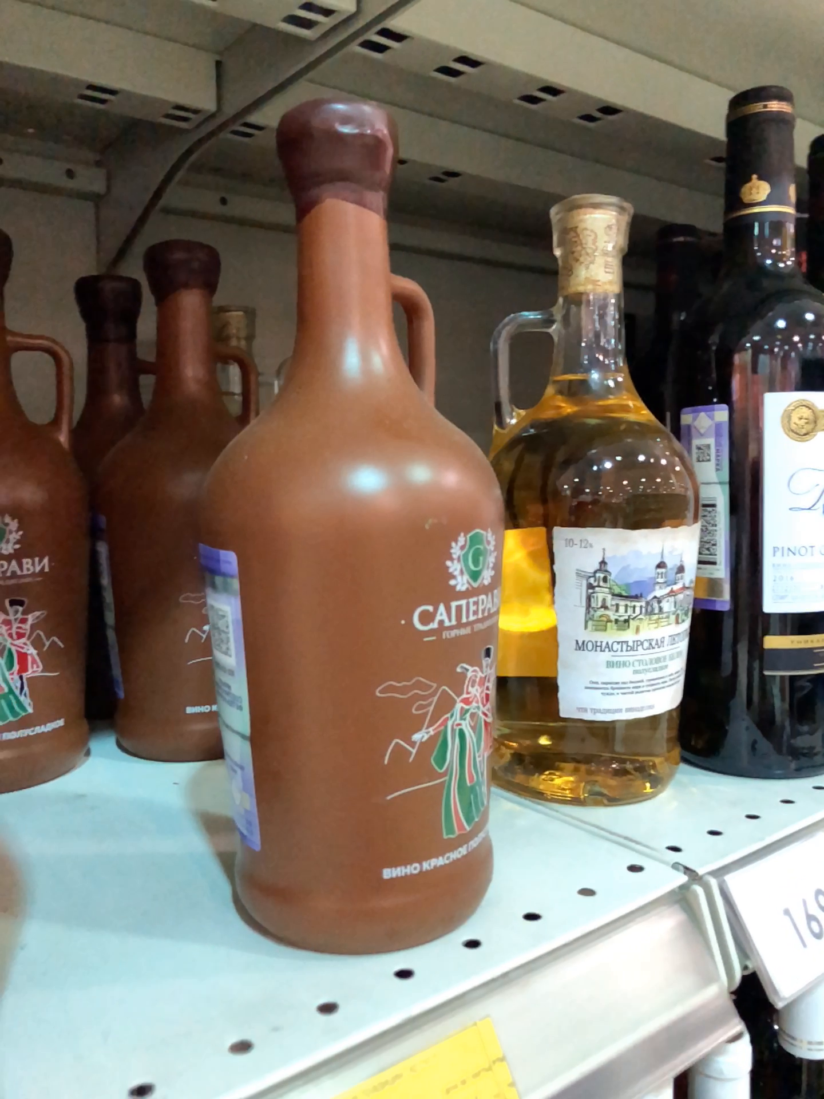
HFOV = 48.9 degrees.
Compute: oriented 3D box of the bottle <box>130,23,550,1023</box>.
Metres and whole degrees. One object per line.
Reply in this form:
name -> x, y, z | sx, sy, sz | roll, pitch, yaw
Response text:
bottle -> -0.020, -0.007, 0.290 | 0.090, 0.250, 0.090 | -1, 4, 0
